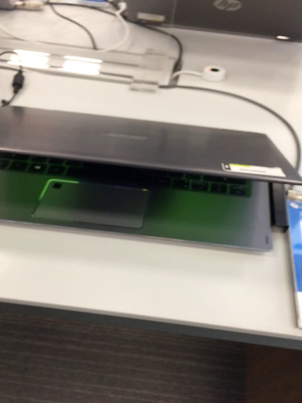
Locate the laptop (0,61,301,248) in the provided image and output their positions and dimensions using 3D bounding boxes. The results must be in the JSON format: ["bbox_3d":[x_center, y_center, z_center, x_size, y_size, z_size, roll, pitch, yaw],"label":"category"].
[{"bbox_3d":[-0.032,-0.059,0.449,0.359,0.075,0.184,7,48,0],"label":"laptop"}]
